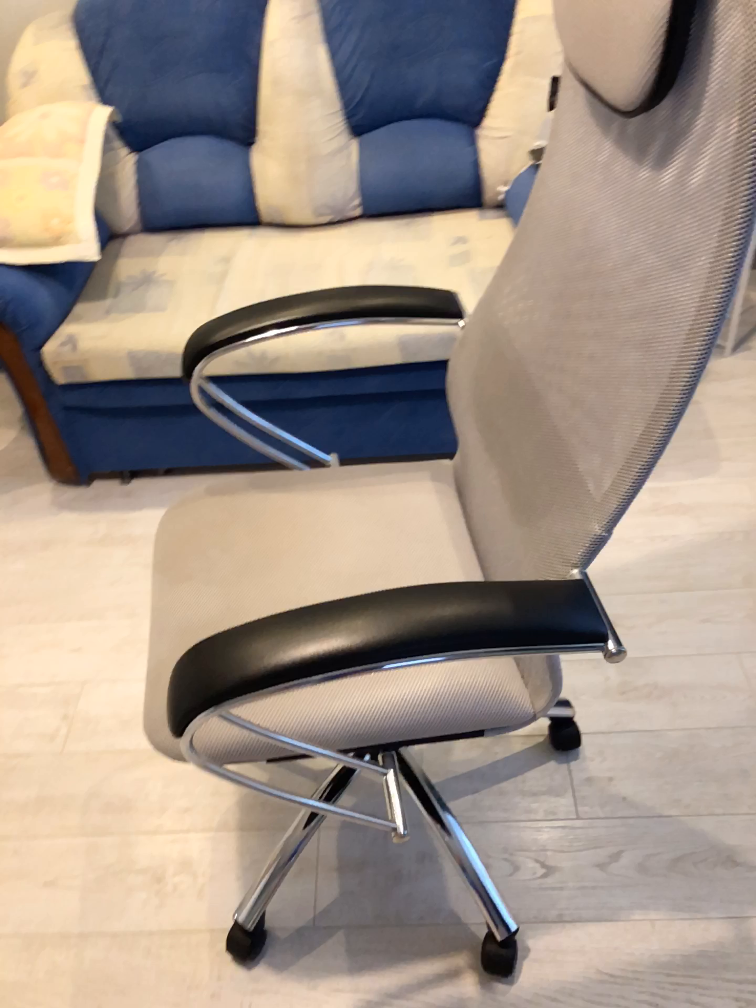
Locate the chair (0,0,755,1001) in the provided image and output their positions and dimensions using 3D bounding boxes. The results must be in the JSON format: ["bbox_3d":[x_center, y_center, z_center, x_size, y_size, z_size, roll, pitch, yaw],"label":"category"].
[{"bbox_3d":[-0.052,-0.023,0.957,0.690,1.152,0.685,-5,42,2],"label":"chair"}]
